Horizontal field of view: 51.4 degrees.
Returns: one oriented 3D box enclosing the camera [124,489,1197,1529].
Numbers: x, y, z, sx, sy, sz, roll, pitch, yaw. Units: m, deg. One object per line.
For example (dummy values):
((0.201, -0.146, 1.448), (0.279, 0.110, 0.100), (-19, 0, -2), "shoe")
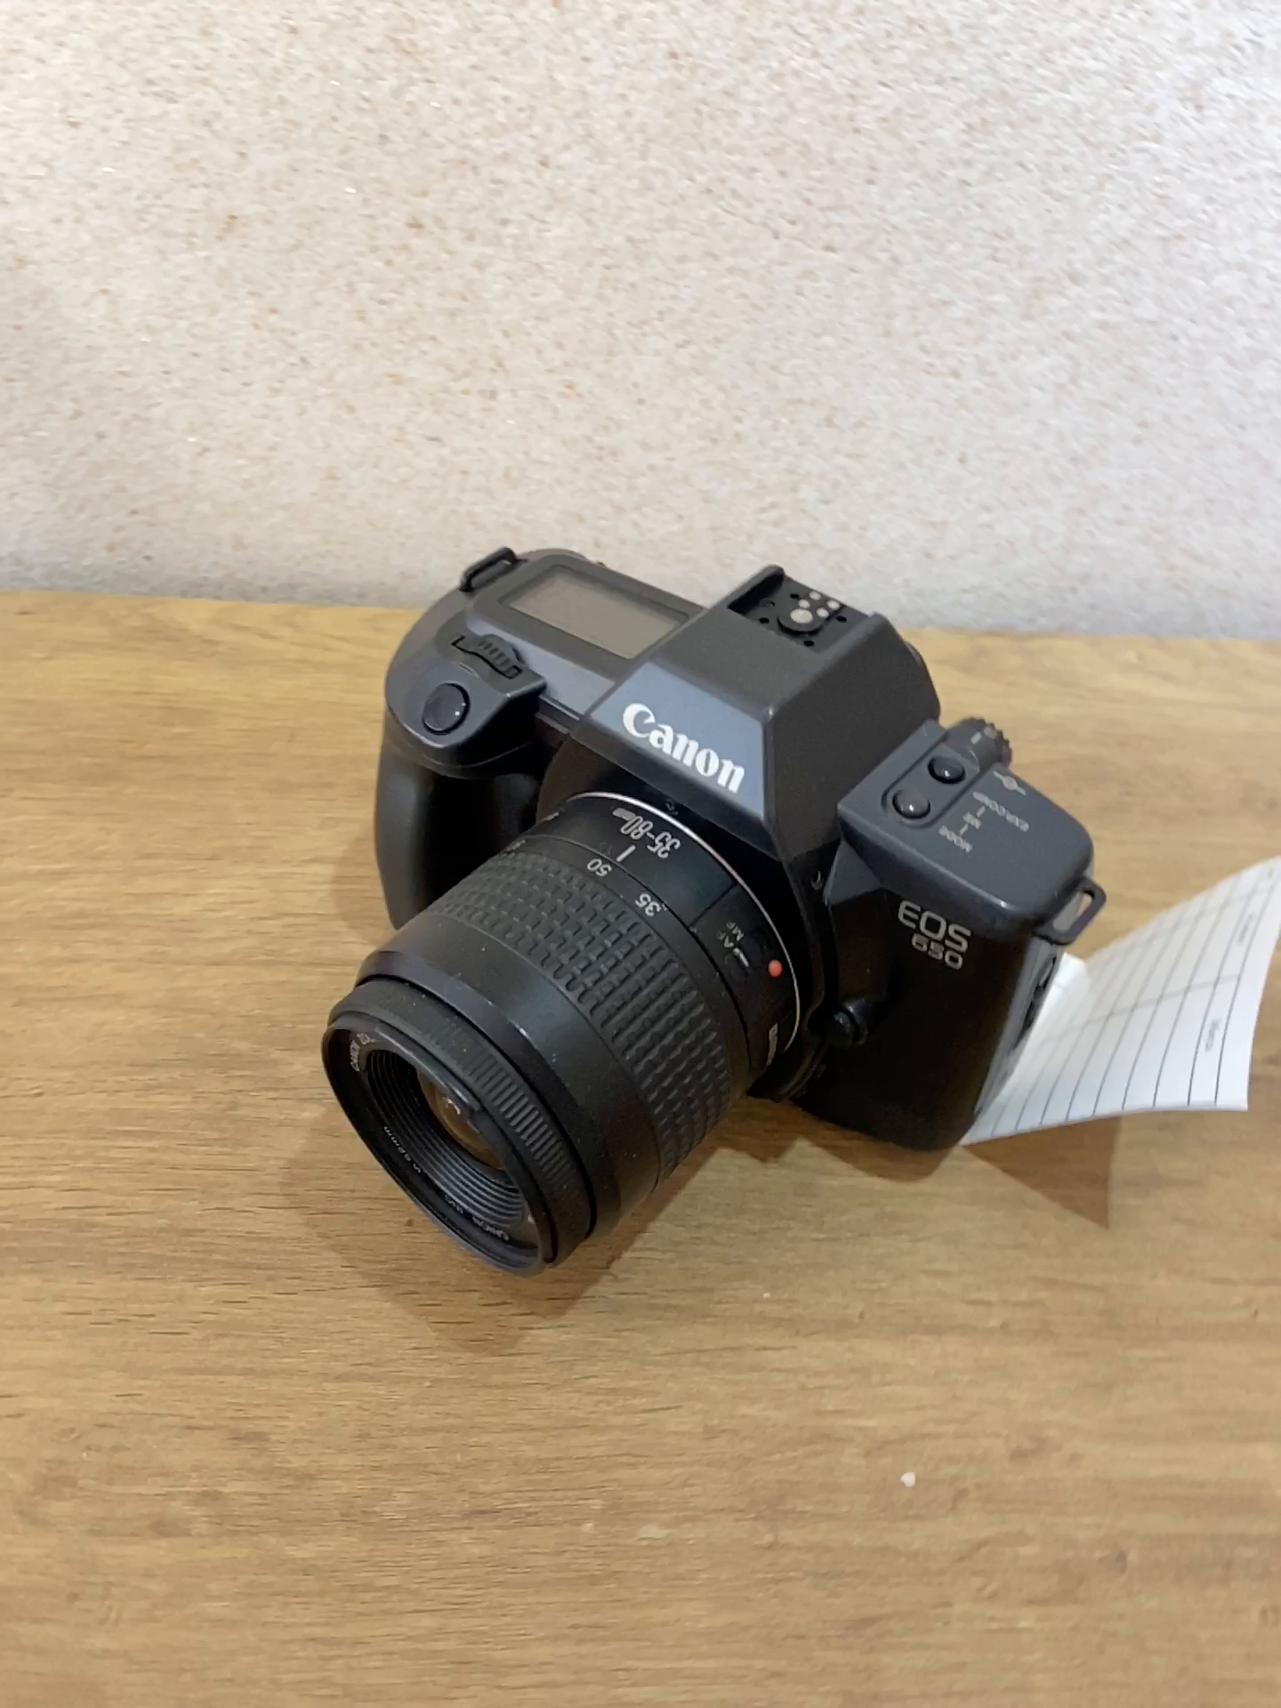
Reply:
((0.007, 0.017, 0.276), (0.140, 0.099, 0.141), (29, 48, 26), "camera")
